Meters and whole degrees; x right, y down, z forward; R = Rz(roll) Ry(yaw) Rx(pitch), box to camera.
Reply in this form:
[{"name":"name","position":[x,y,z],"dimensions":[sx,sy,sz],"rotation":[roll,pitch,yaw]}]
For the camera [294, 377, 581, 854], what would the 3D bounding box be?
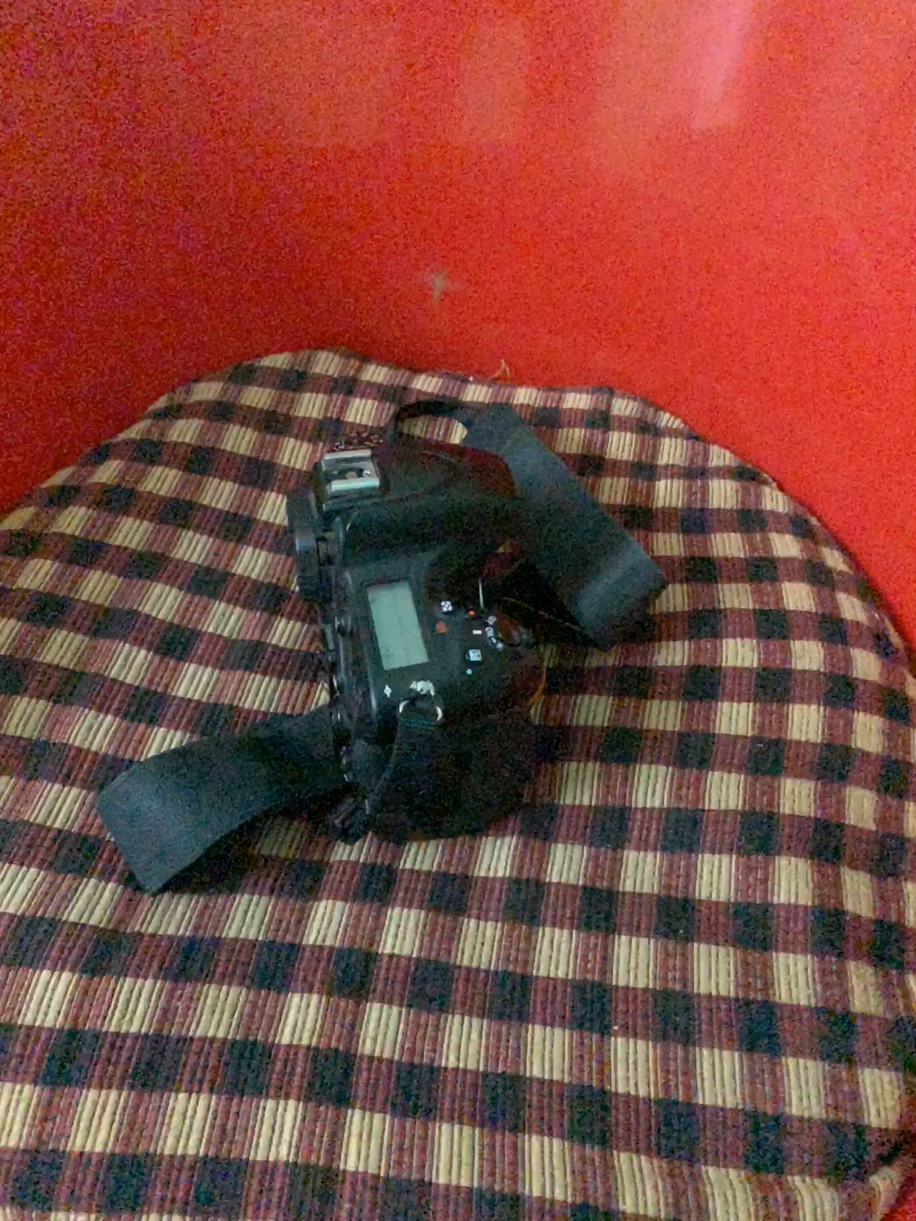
[{"name":"camera","position":[-0.013,0.000,0.338],"dimensions":[0.080,0.090,0.140],"rotation":[-4,56,-4]}]
